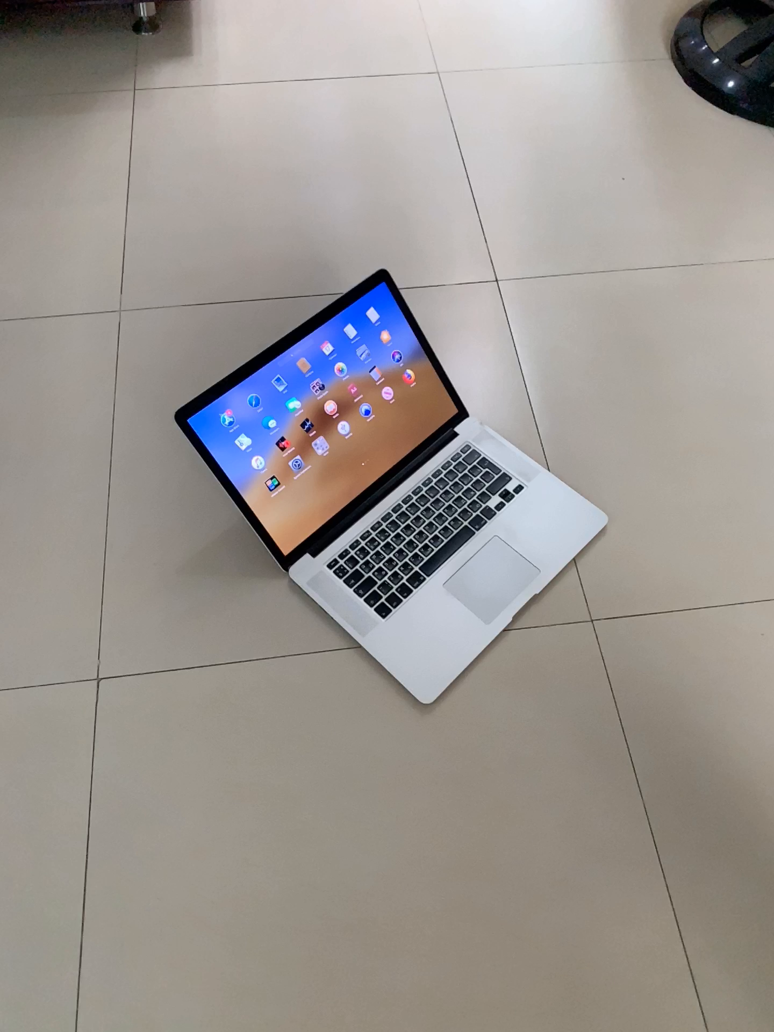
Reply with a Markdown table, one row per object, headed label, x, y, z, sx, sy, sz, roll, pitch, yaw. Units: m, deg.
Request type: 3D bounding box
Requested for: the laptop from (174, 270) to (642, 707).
| label | x | y | z | sx | sy | sz | roll | pitch | yaw |
| --- | --- | --- | --- | --- | --- | --- | --- | --- | --- |
| laptop | 0.021 | -0.055 | 0.981 | 0.415 | 0.162 | 0.353 | 39 | 65 | 21 |
